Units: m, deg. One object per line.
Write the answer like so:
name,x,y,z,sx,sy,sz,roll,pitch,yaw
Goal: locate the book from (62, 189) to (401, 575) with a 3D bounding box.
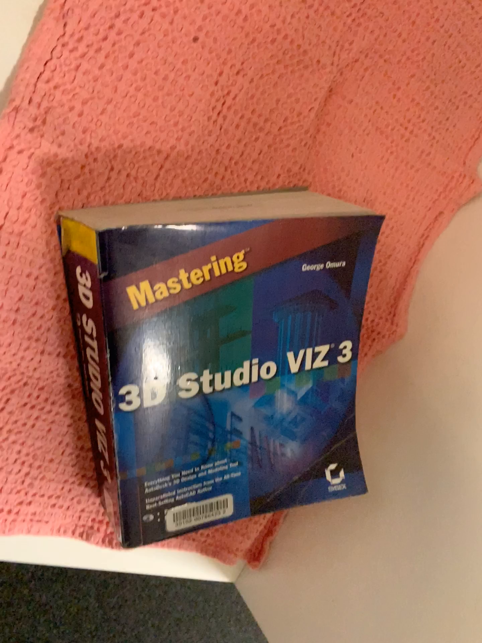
book,-0.002,0.031,0.364,0.207,0.077,0.231,-10,114,-26
